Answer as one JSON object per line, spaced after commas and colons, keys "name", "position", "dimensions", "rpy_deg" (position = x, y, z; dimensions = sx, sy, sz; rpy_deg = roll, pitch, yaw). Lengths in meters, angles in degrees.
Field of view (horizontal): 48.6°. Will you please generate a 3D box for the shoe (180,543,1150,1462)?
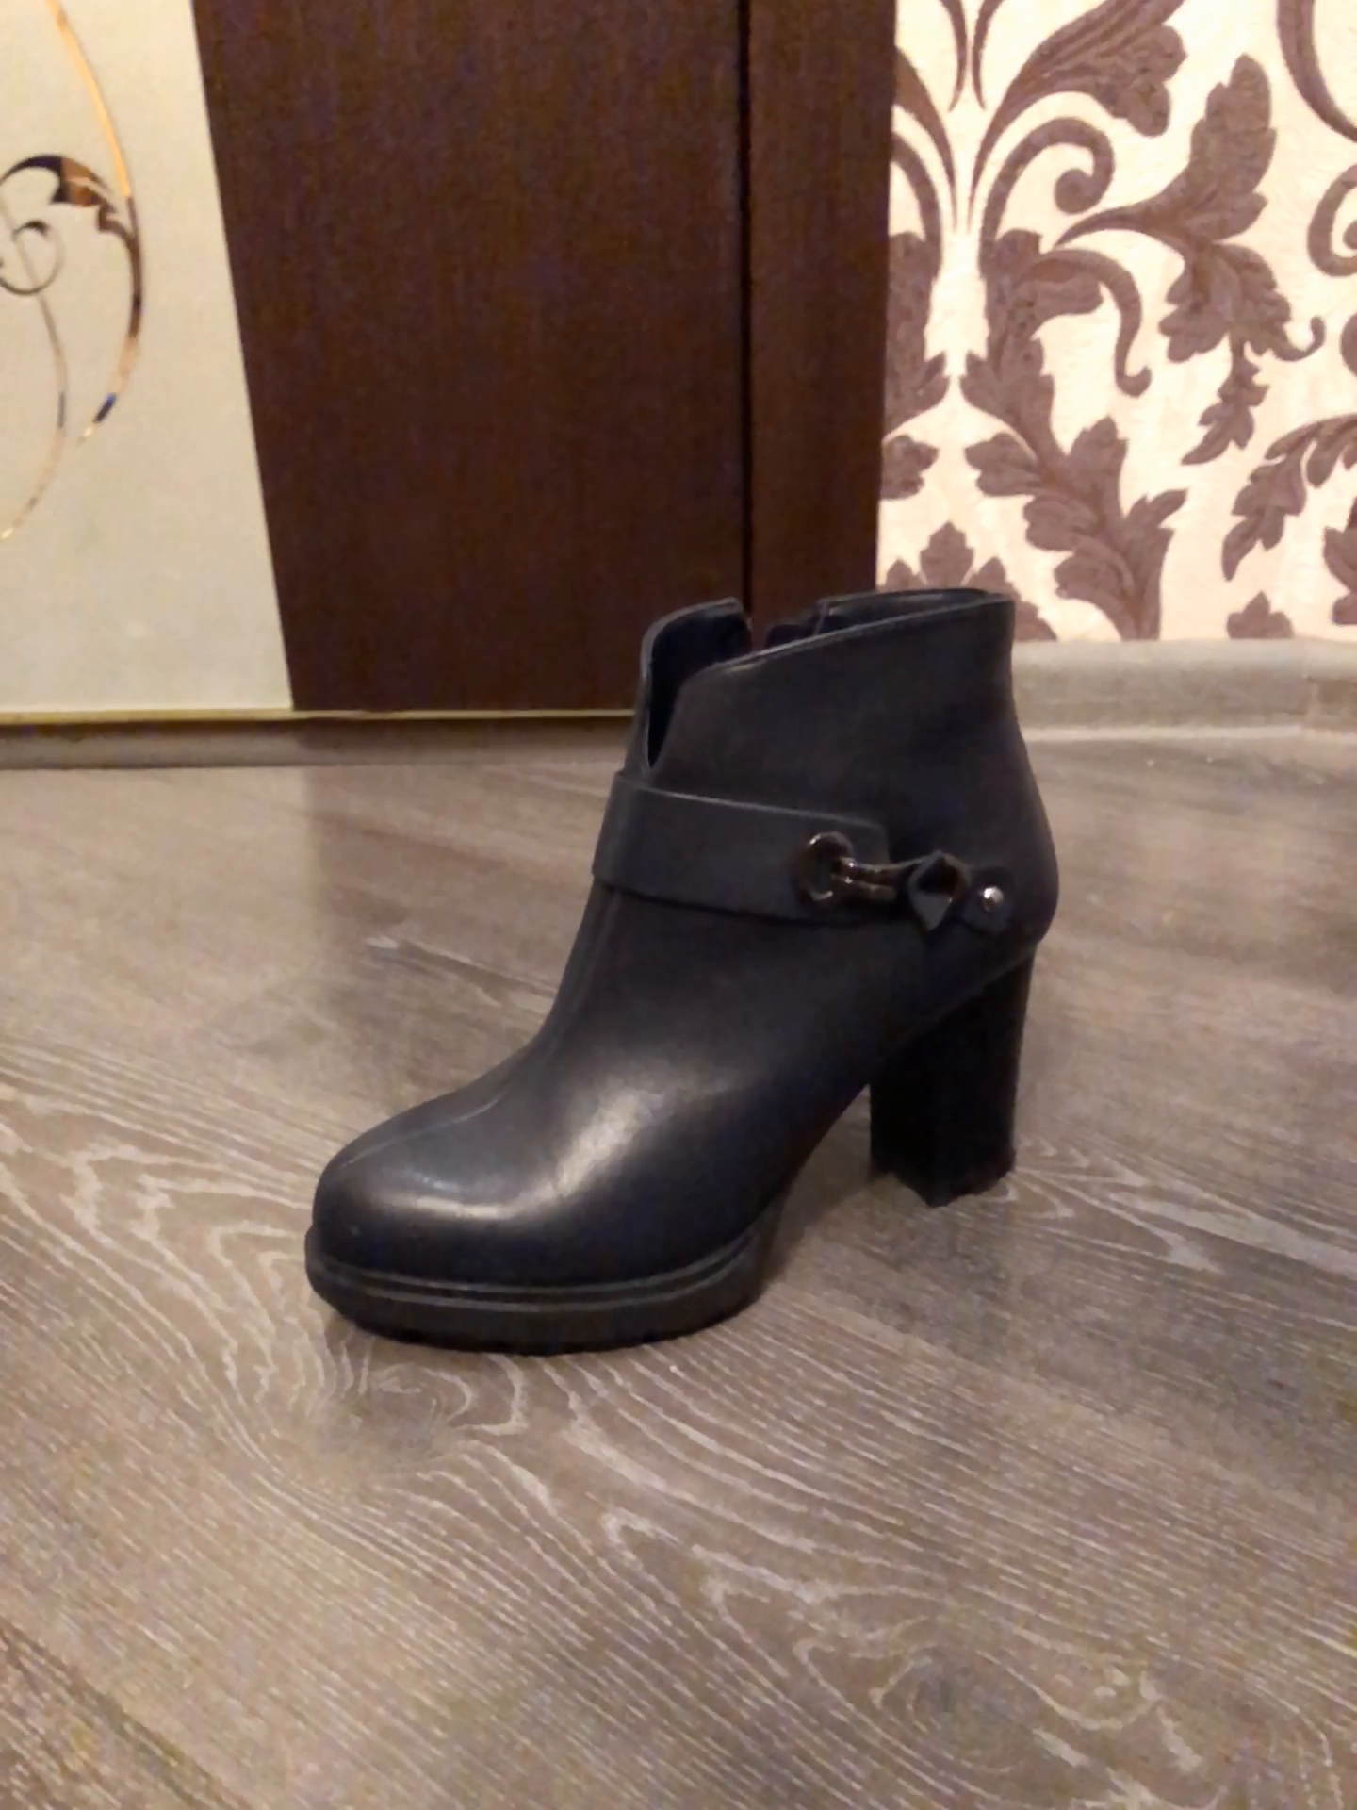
{"name": "shoe", "position": [-0.002, 0.013, 0.433], "dimensions": [0.230, 0.189, 0.111], "rpy_deg": [-12, 27, -21]}
